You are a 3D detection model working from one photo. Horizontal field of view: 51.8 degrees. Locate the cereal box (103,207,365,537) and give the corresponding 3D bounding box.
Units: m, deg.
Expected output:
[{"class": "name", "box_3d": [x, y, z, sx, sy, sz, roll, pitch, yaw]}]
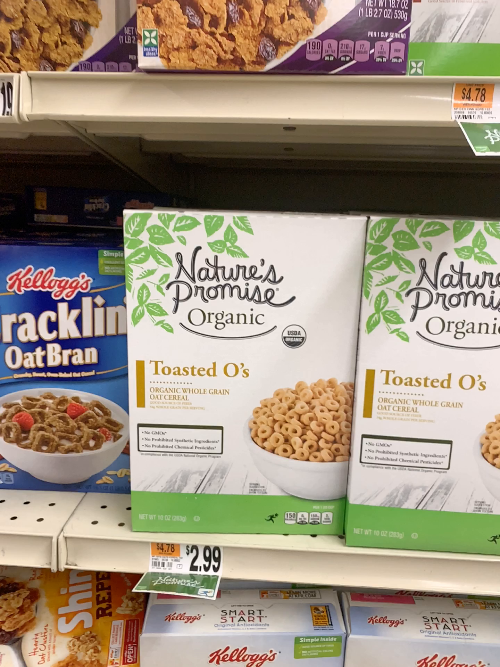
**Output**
[{"class": "cereal box", "box_3d": [-0.014, 0.033, 0.441, 0.190, 0.269, 0.070, 1, 14, 0]}]
